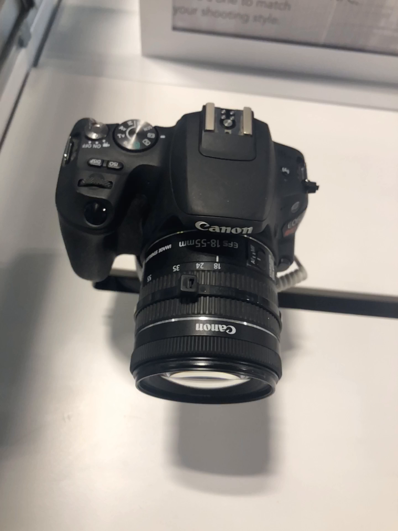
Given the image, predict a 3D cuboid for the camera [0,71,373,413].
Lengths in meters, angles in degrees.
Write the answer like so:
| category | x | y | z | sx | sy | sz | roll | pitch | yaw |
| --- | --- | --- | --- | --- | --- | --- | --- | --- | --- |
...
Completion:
| category | x | y | z | sx | sy | sz | roll | pitch | yaw |
| --- | --- | --- | --- | --- | --- | --- | --- | --- | --- |
| camera | -0.009 | -0.004 | 0.204 | 0.122 | 0.100 | 0.110 | 5 | 61 | -2 |
